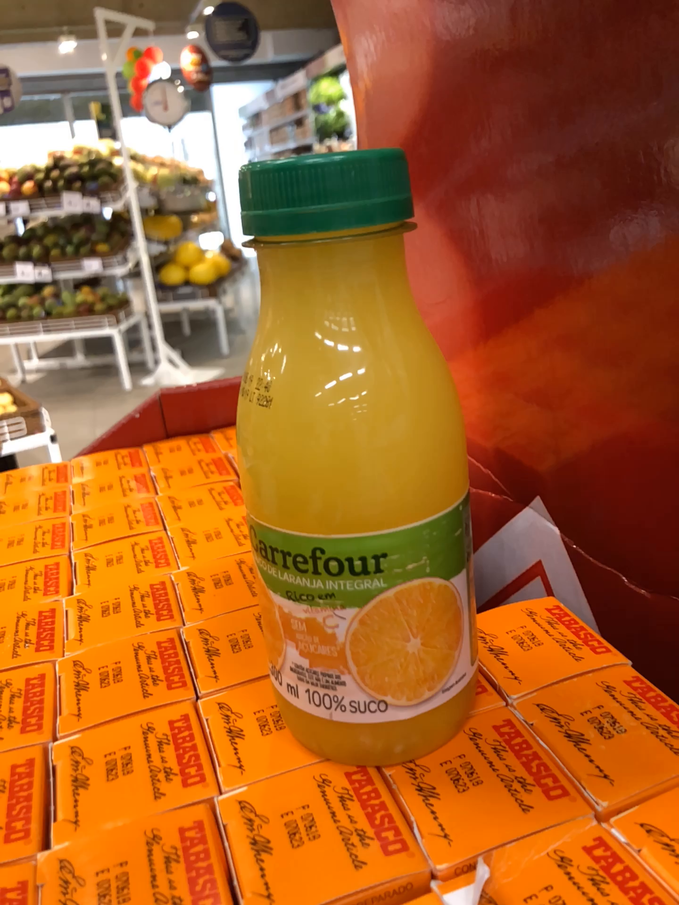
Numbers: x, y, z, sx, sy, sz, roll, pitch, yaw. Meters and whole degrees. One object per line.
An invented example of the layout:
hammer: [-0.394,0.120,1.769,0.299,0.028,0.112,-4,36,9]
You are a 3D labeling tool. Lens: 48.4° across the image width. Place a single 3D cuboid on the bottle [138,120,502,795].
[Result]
bottle: [0.002,0.000,0.192,0.060,0.149,0.050,8,23,33]
